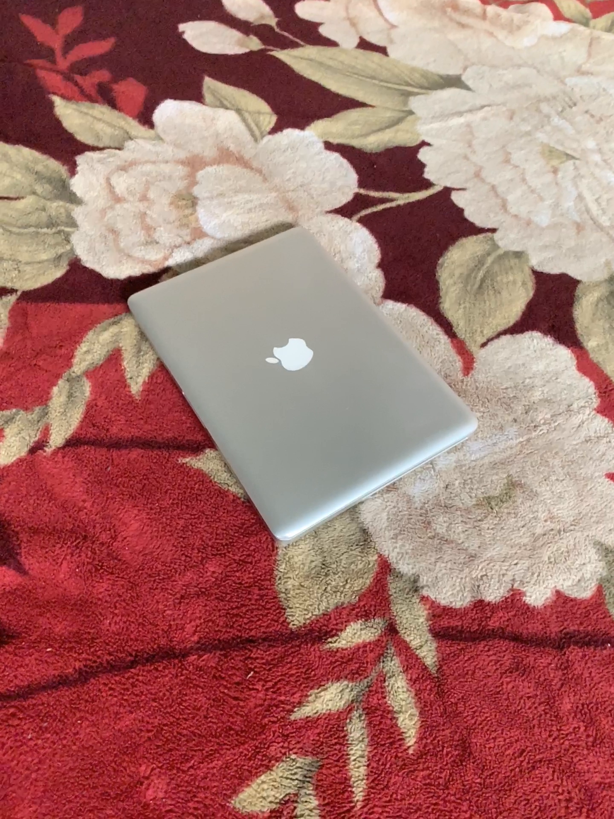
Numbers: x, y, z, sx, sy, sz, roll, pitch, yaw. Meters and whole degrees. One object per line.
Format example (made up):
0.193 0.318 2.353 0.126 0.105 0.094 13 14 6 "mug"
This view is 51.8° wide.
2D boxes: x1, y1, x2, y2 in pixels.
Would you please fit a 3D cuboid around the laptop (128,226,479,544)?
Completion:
-0.014 -0.049 0.617 0.209 0.001 0.310 -28 62 -17 "laptop"
